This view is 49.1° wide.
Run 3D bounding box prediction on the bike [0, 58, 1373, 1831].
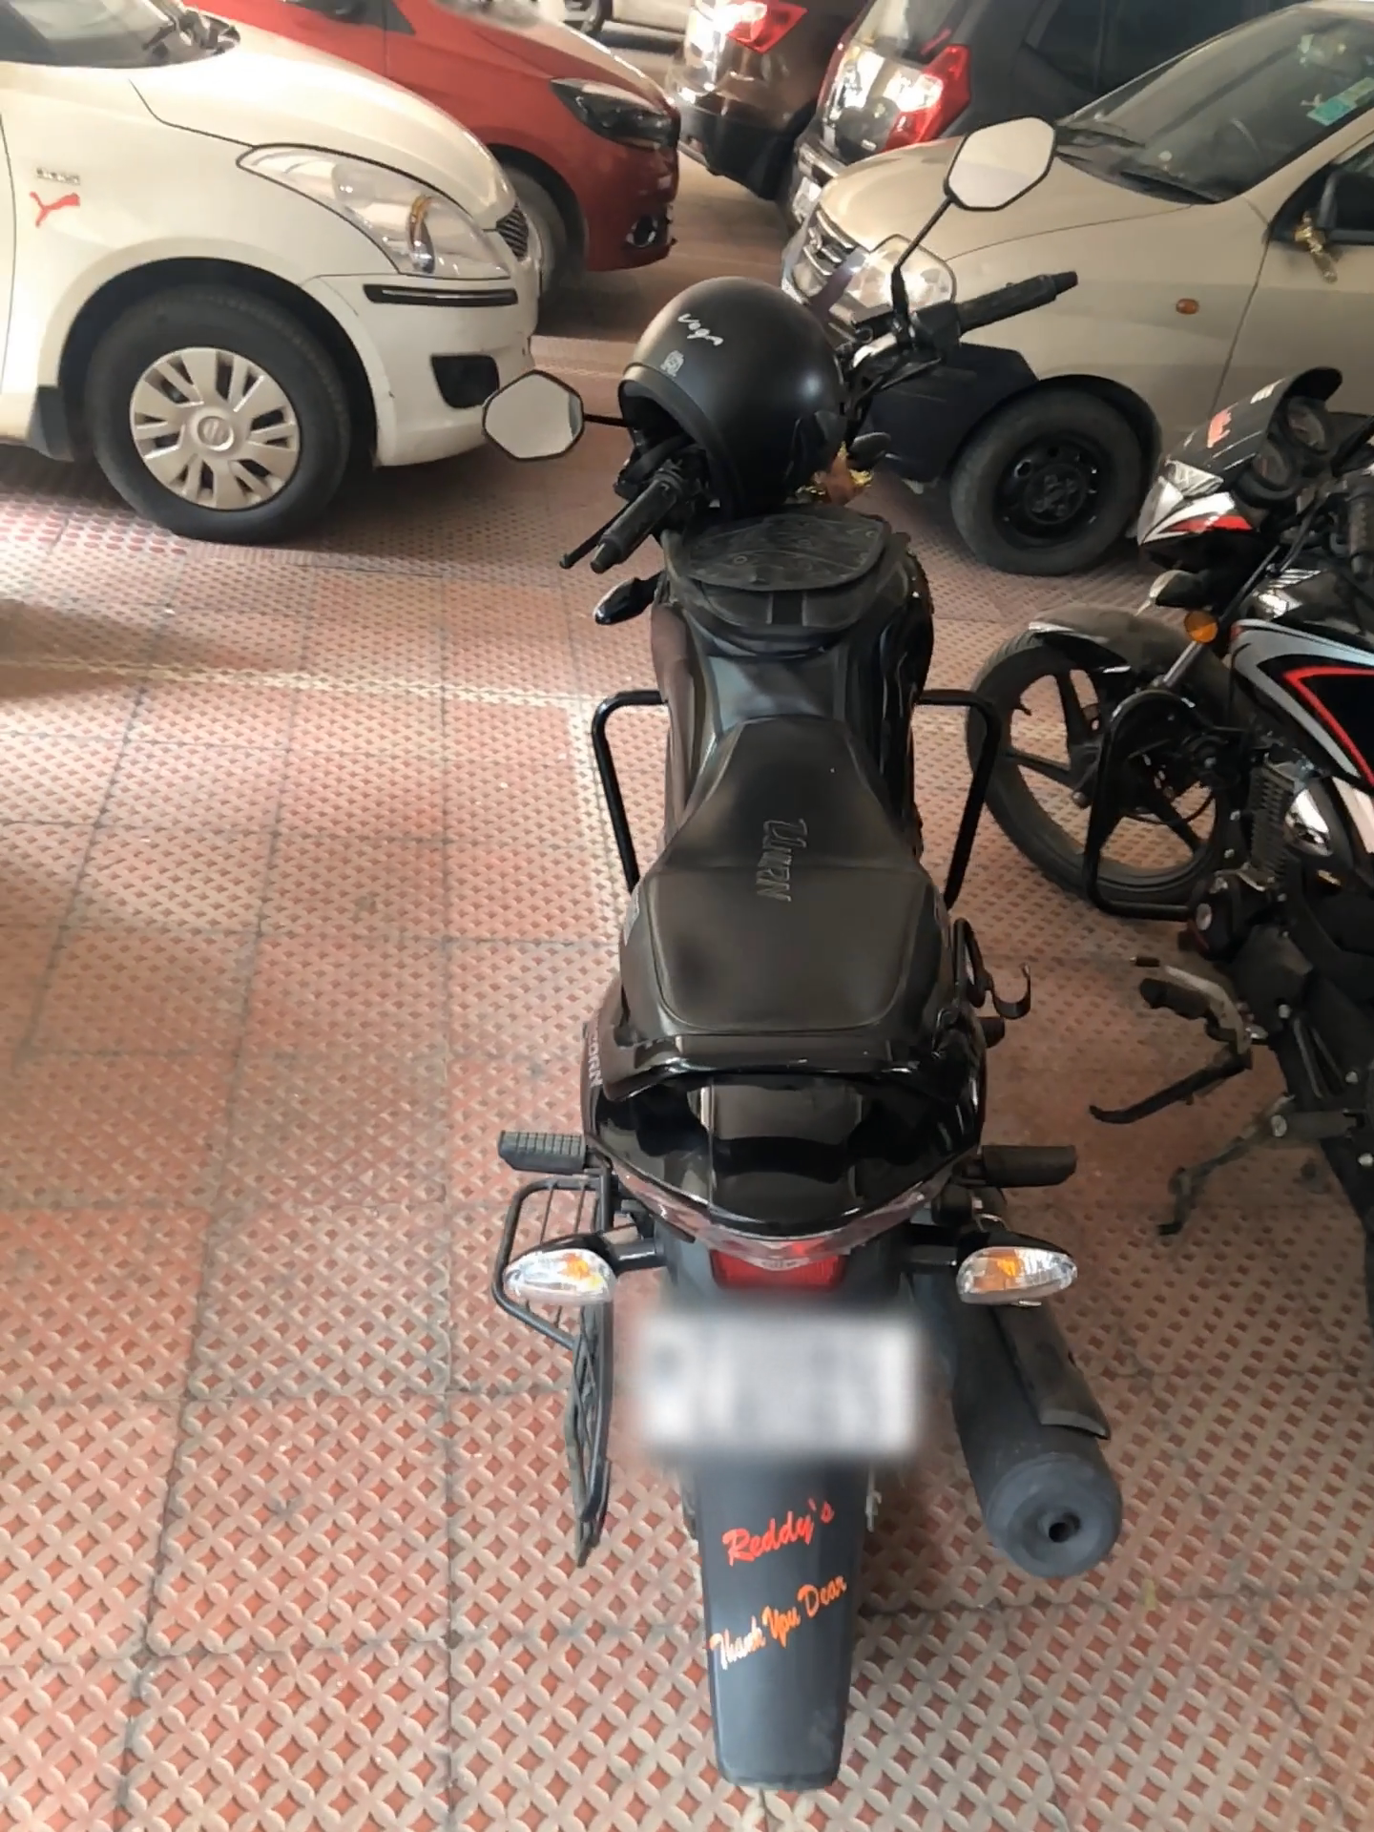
[{"bbox_3d":[-0.076,-0.129,1.759,0.804,1.200,1.692,5,36,-7],"label":"bike"}]
